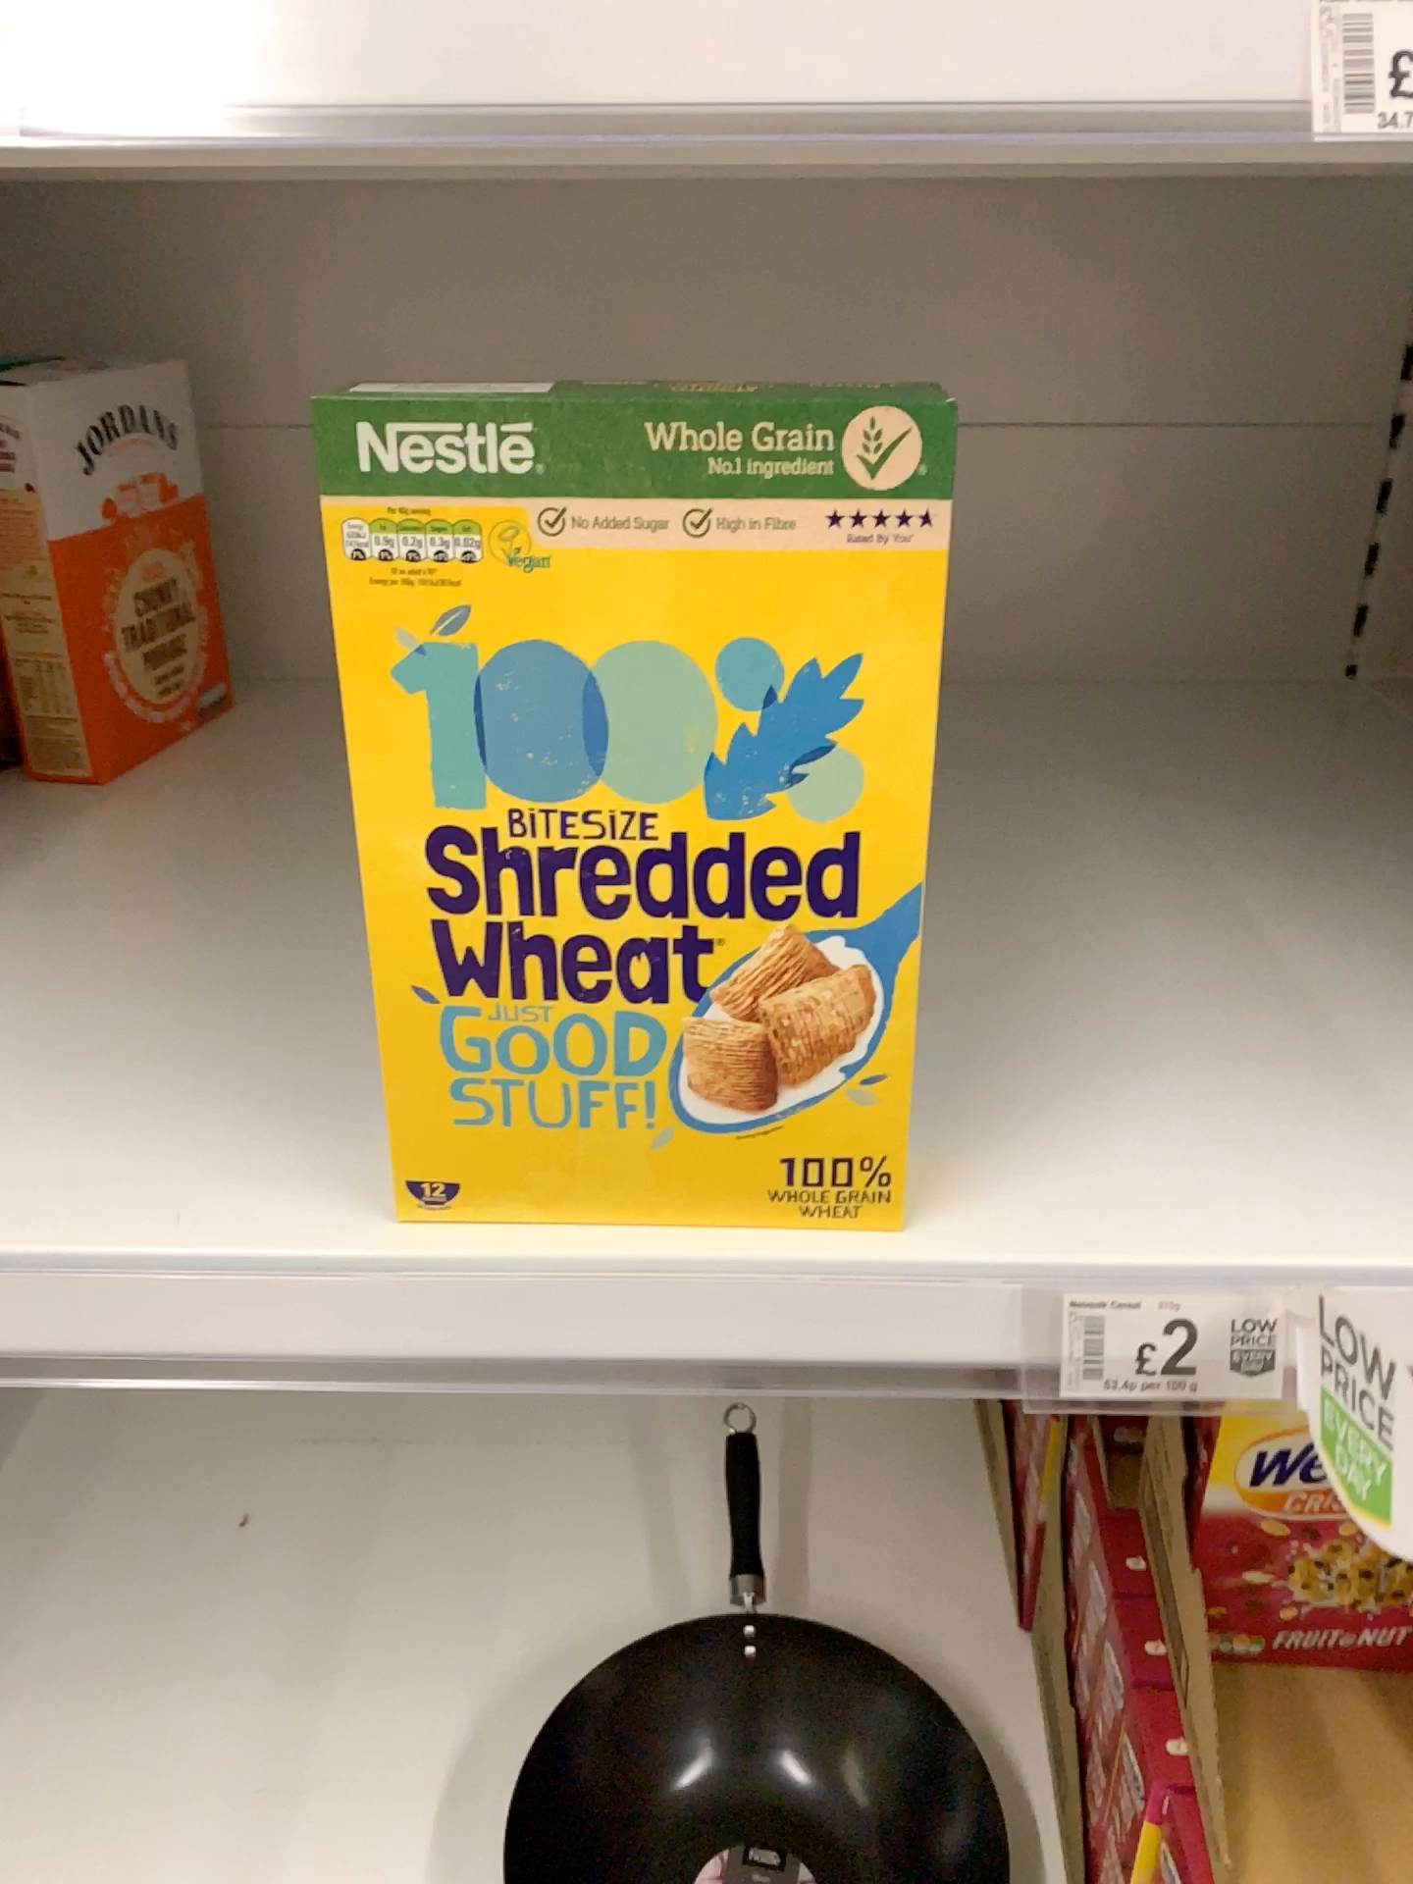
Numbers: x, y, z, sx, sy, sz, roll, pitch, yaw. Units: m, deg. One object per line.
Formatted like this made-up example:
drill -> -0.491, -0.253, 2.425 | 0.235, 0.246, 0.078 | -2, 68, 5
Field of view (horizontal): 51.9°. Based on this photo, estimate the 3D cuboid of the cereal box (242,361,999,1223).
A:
cereal box -> -0.023, -0.044, 0.489 | 0.210, 0.278, 0.071 | 1, 24, 2
